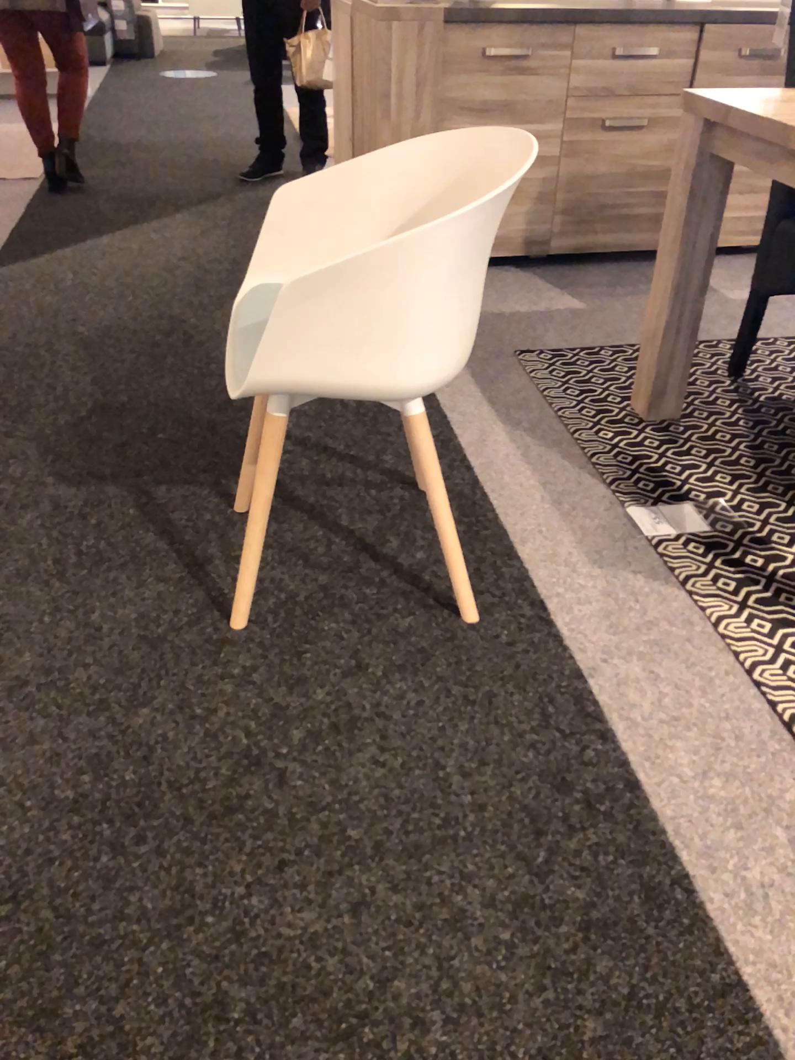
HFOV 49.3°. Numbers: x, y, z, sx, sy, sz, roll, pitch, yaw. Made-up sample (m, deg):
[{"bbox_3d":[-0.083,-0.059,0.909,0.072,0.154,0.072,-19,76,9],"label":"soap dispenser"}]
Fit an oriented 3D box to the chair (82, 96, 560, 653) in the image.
[{"bbox_3d":[-0.123,-0.286,1.489,0.580,0.765,0.553,-4,33,-7],"label":"chair"}]
